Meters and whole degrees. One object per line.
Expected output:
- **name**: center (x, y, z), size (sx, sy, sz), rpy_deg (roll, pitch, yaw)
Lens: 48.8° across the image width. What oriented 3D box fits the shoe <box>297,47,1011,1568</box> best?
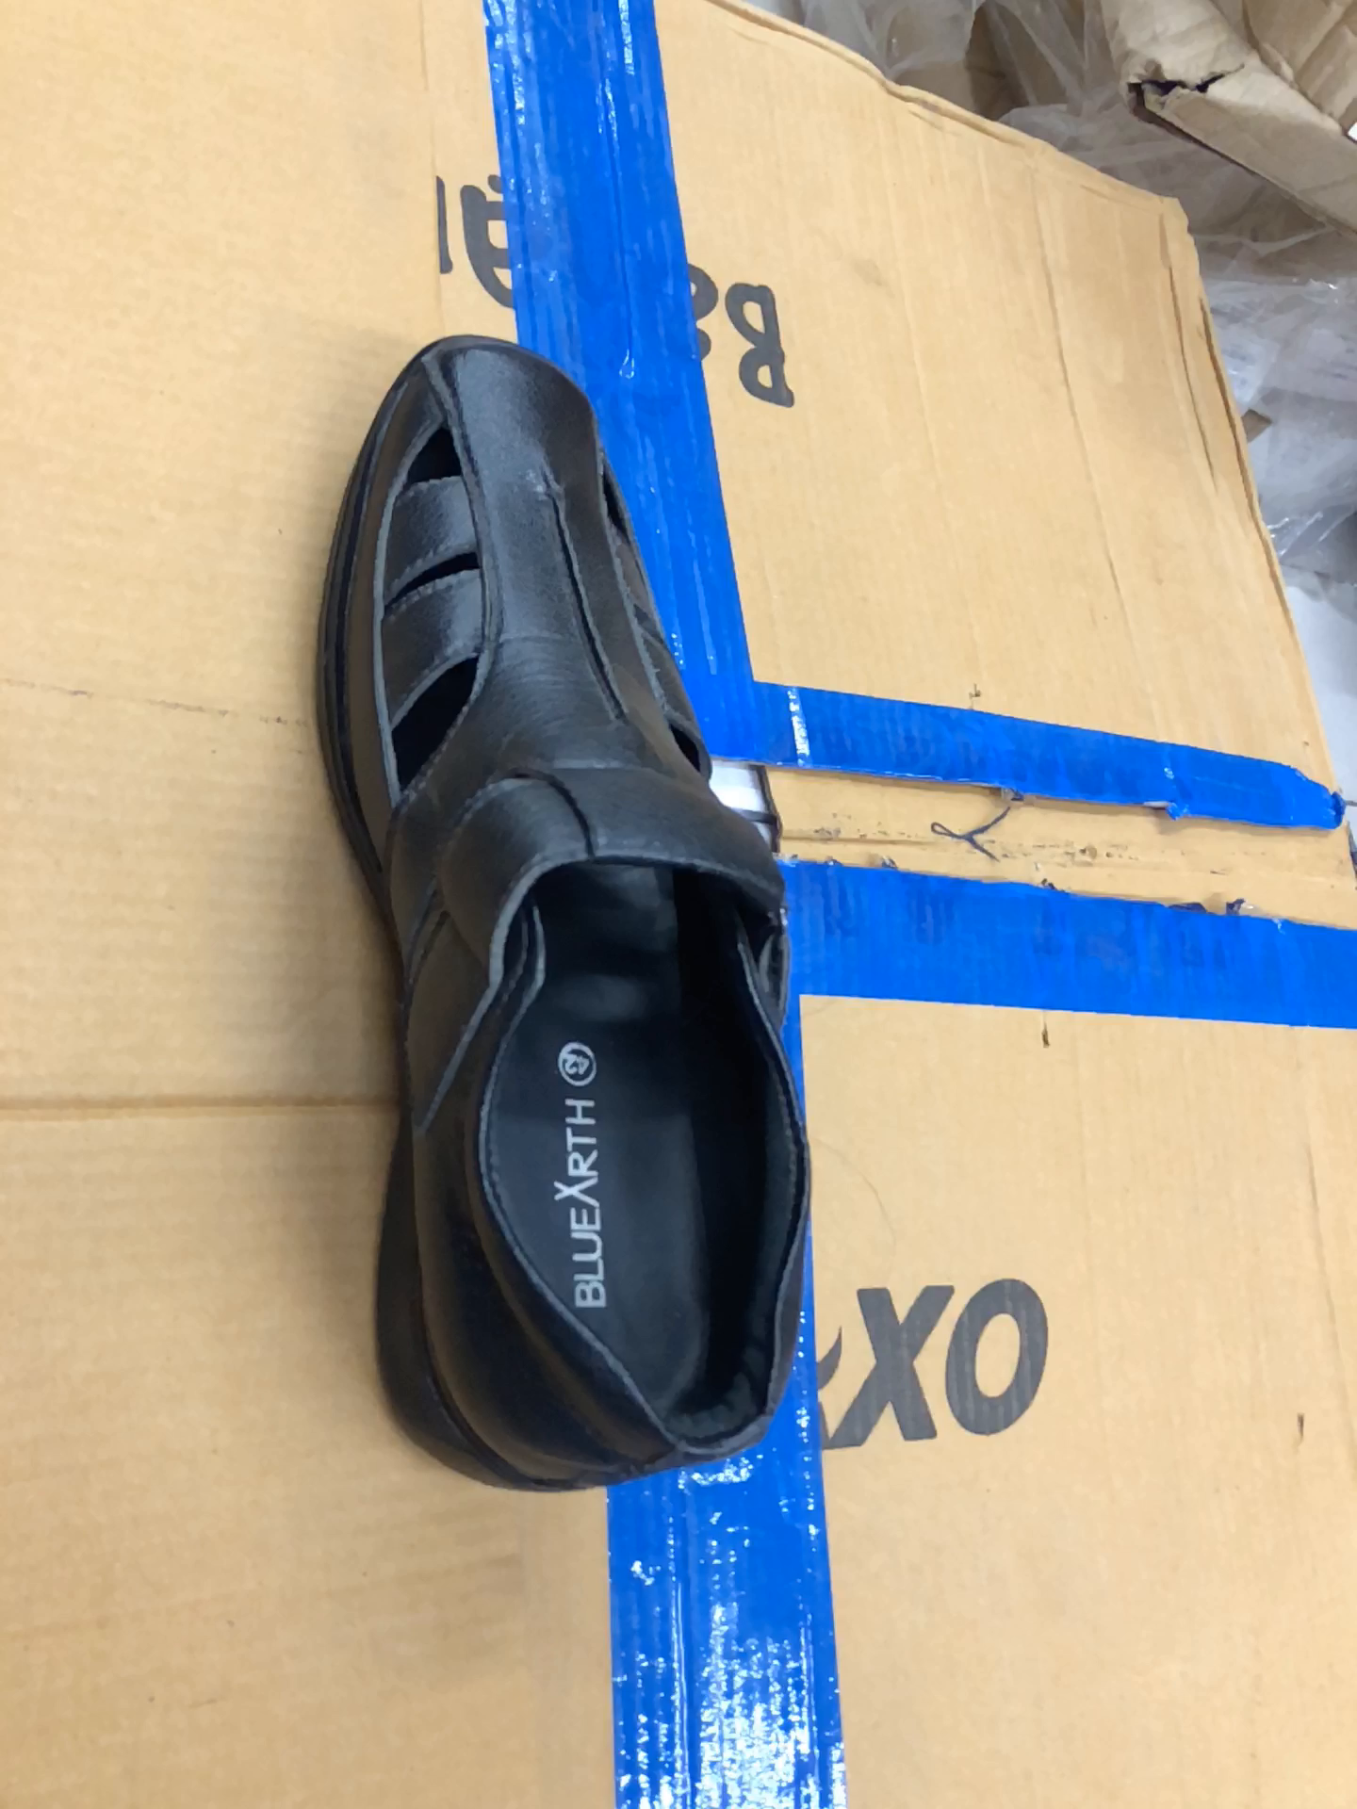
- **shoe**: center (-0.018, -0.023, 0.348), size (0.101, 0.097, 0.304), rpy_deg (3, 73, -32)
